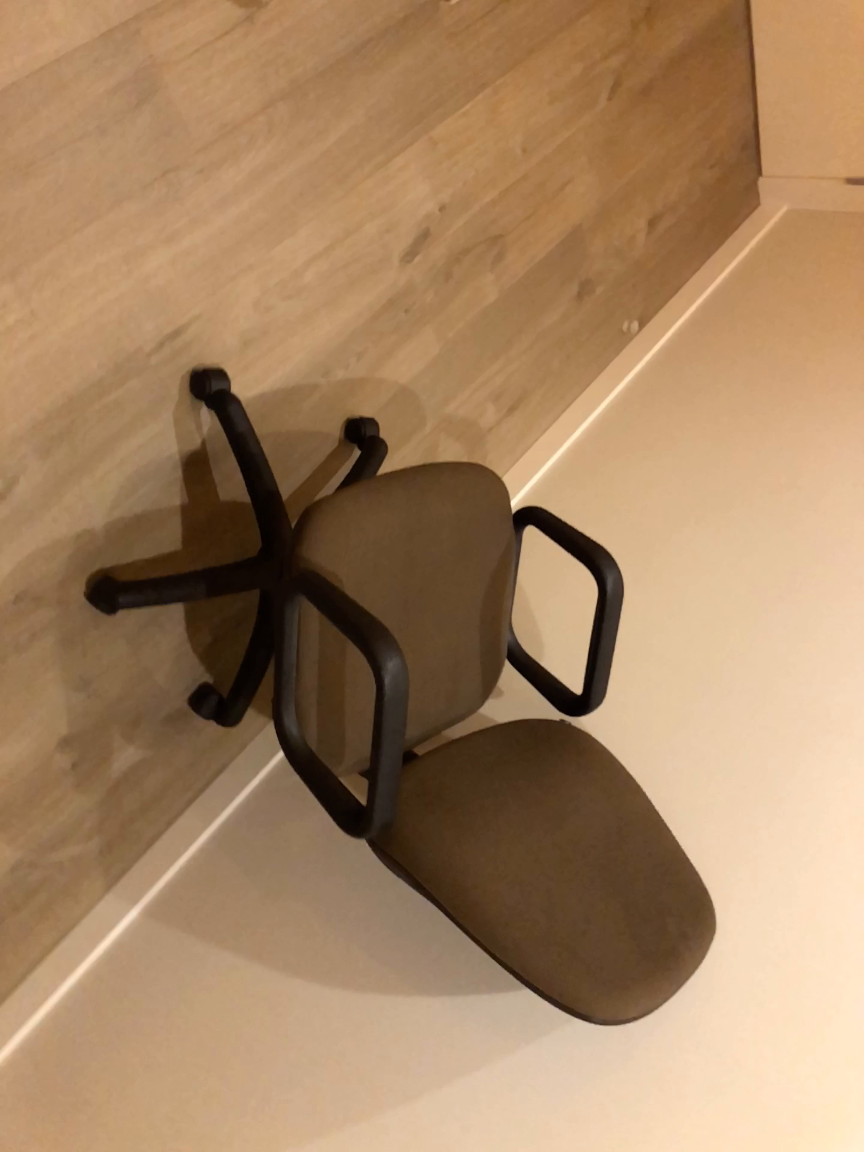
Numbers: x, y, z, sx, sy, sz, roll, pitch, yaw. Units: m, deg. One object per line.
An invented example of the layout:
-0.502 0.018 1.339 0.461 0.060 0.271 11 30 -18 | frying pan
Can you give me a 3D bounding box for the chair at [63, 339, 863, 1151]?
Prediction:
0.007 0.090 1.433 0.633 0.974 0.710 -18 121 -43 | chair
